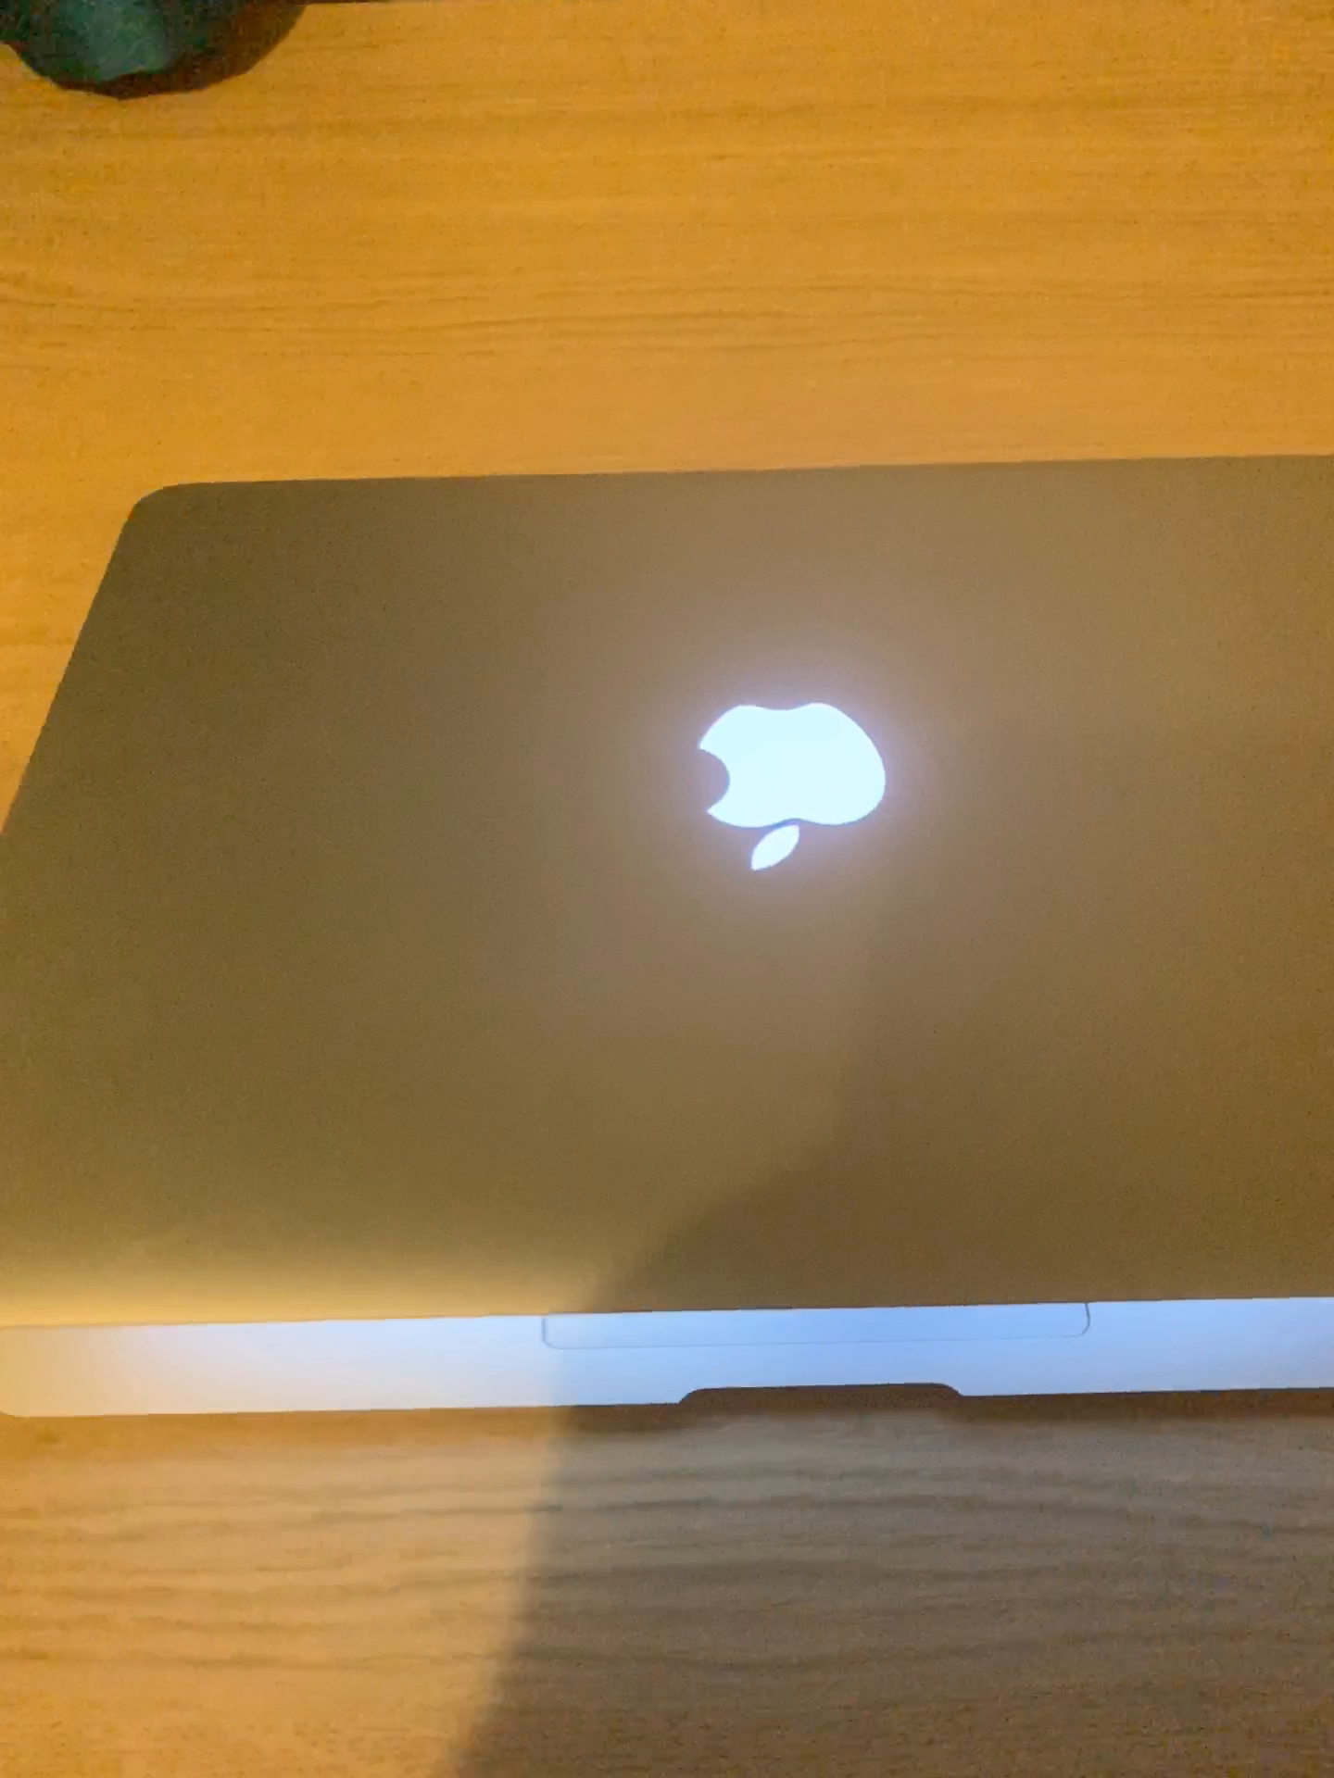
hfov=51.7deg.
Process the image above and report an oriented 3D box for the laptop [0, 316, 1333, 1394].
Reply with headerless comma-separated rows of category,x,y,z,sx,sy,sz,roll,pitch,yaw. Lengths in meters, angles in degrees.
laptop,0.026,-0.018,0.285,0.320,0.048,0.218,-2,61,1
